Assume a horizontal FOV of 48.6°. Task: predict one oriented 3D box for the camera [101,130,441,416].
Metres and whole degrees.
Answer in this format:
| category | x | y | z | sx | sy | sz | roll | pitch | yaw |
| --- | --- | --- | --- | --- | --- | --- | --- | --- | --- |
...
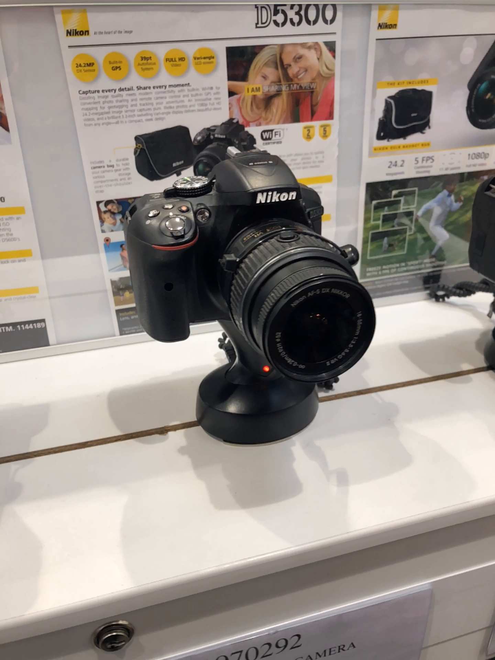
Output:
| category | x | y | z | sx | sy | sz | roll | pitch | yaw |
| --- | --- | --- | --- | --- | --- | --- | --- | --- | --- |
| camera | -0.002 | -0.046 | 0.300 | 0.130 | 0.089 | 0.151 | -9 | 30 | -15 |
